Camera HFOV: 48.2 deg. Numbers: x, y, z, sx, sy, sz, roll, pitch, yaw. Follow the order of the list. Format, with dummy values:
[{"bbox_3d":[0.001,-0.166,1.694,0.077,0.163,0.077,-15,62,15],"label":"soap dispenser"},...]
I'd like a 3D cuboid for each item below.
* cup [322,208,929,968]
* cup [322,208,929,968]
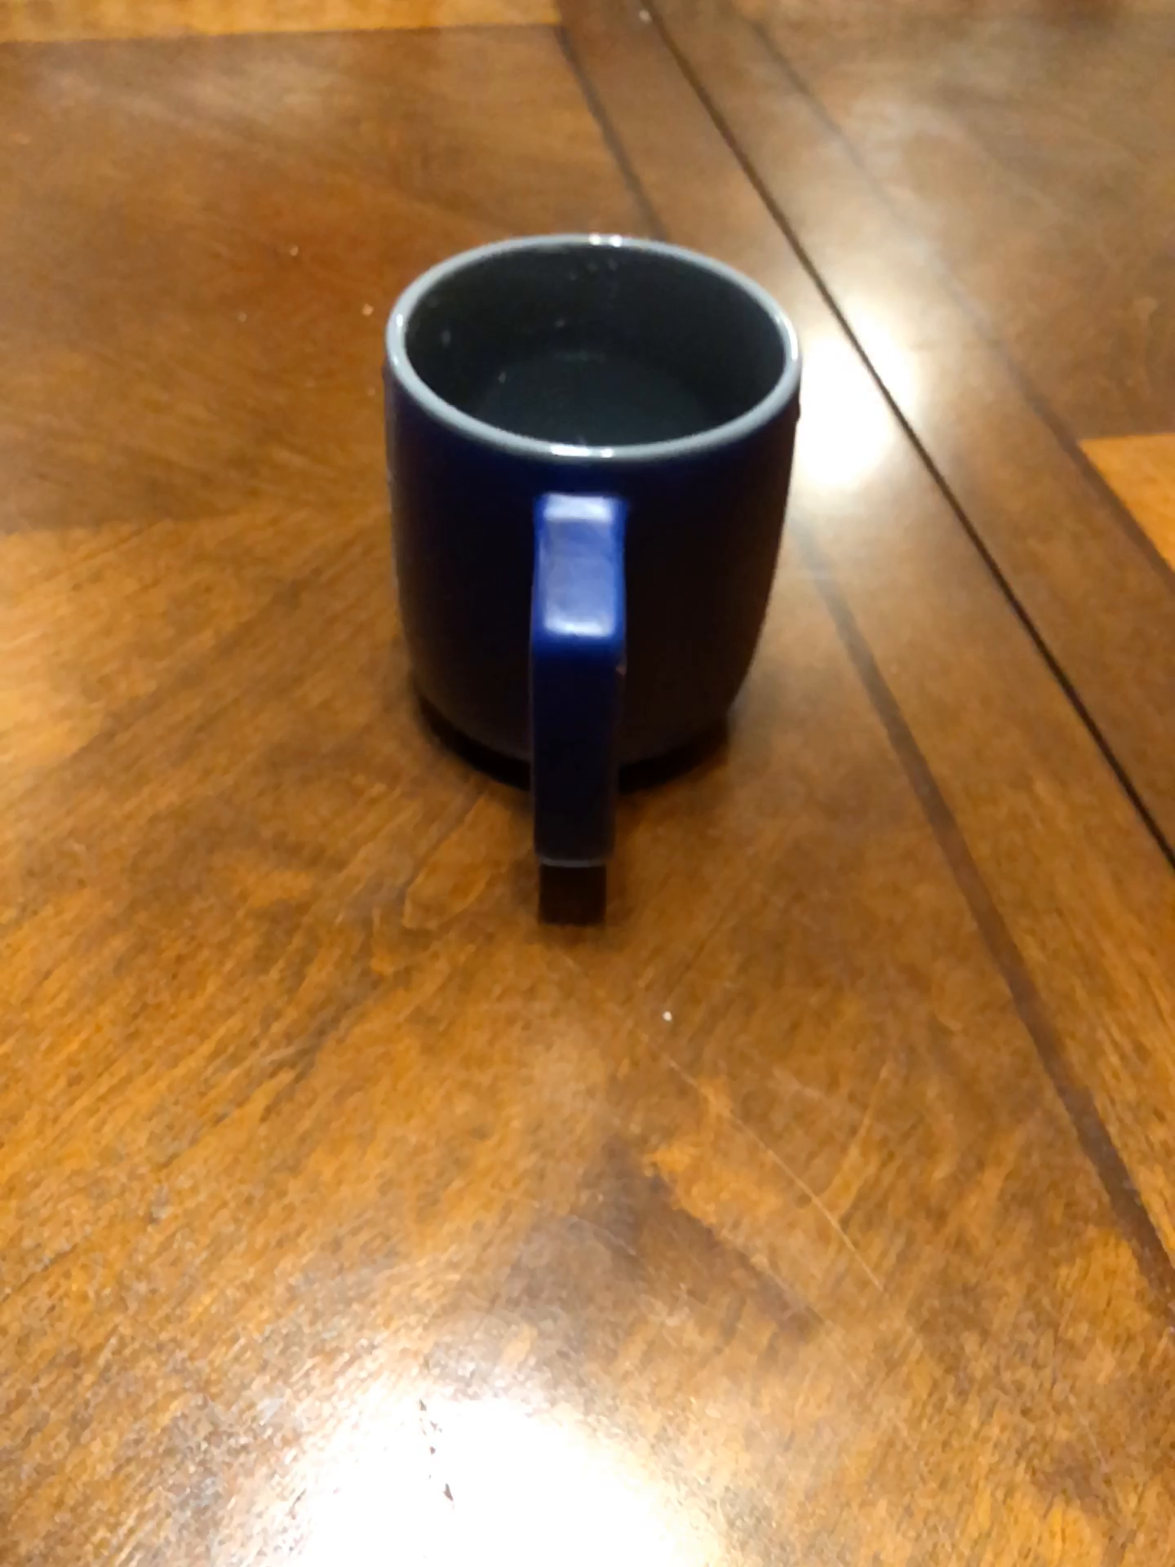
[{"bbox_3d":[0.006,-0.047,0.300,0.100,0.099,0.141,3,49,-1],"label":"cup"},{"bbox_3d":[0.006,-0.047,0.300,0.100,0.099,0.141,3,49,-1],"label":"cup"}]
